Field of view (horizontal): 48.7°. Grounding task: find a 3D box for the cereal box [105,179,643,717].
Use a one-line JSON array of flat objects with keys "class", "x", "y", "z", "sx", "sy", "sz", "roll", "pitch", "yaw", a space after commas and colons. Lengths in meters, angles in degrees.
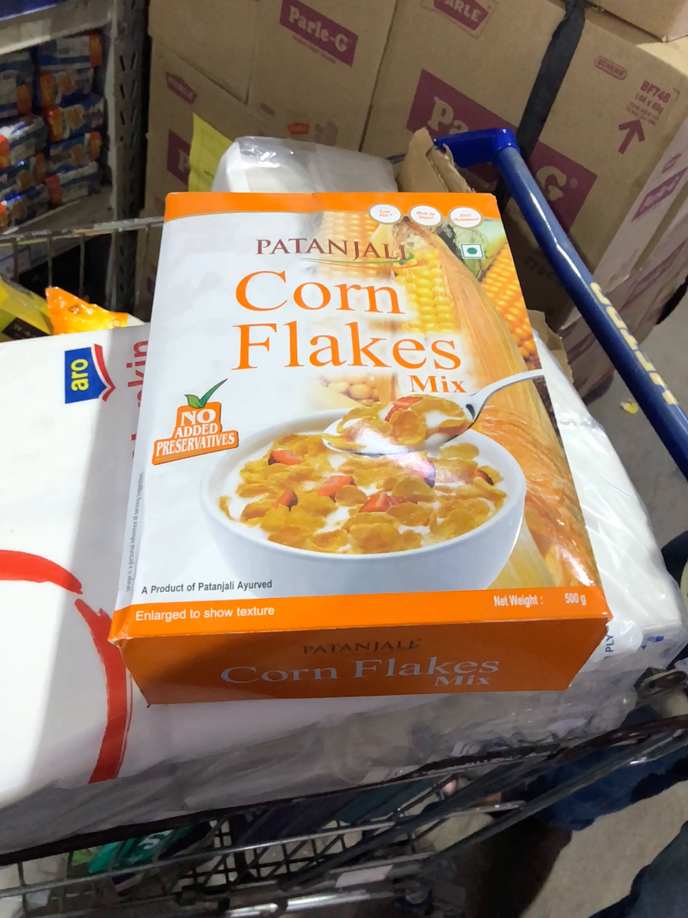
[{"class": "cereal box", "x": 0.002, "y": -0.023, "z": 0.389, "sx": 0.200, "sy": 0.080, "sz": 0.271, "roll": -1, "pitch": 56, "yaw": -6}]
